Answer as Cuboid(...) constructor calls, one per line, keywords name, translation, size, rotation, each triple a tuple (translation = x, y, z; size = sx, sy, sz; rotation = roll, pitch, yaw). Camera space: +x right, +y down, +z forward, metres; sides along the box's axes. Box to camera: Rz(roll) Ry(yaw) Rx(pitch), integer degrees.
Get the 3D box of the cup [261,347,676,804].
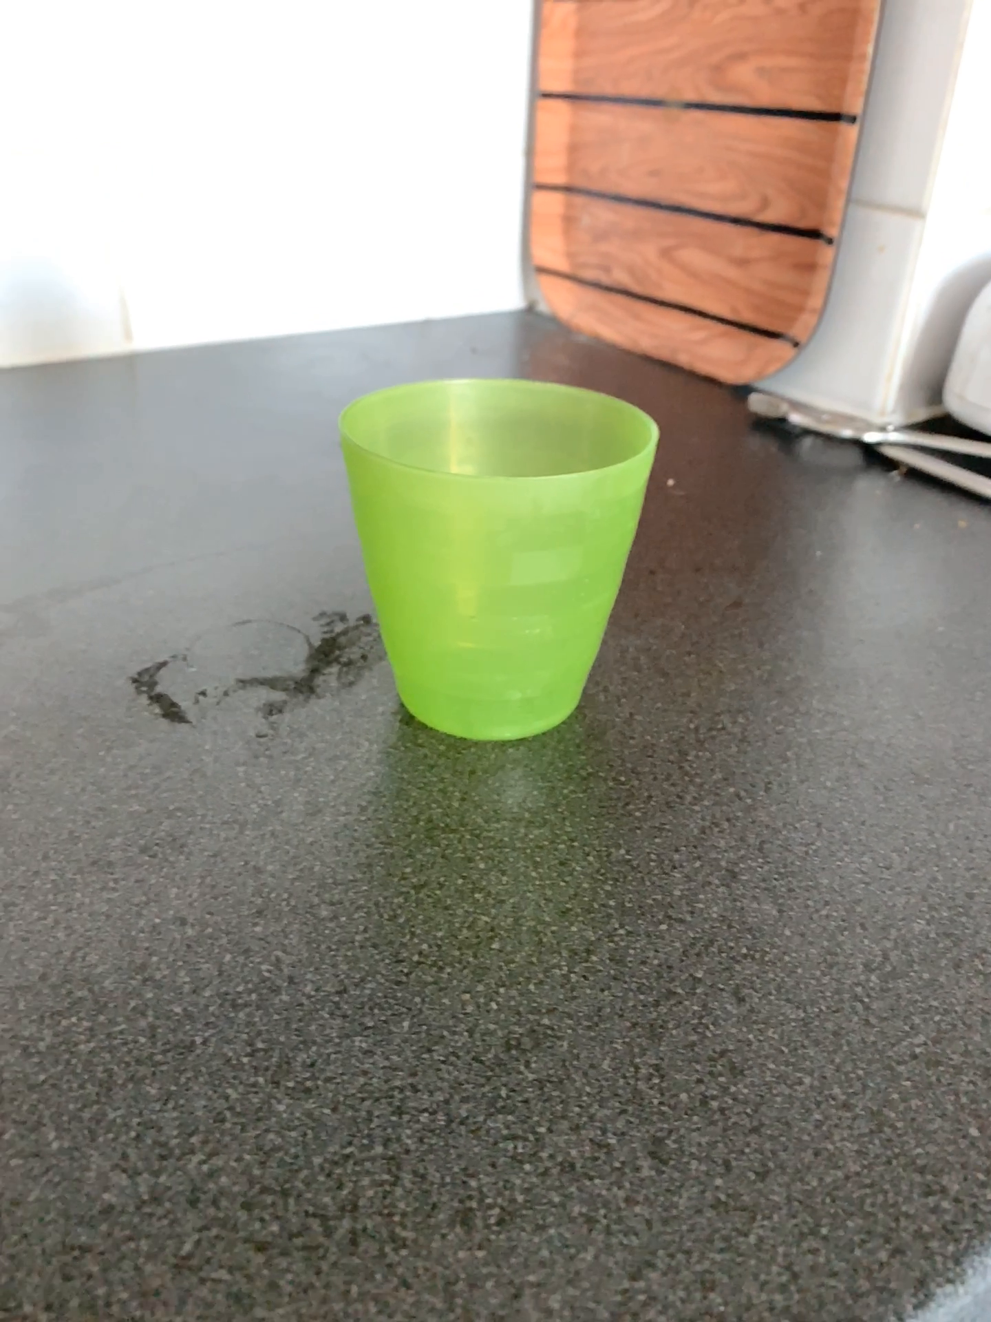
Cuboid(name="cup", translation=(-0.005, -0.029, 0.283), size=(0.077, 0.080, 0.090), rotation=(15, 32, 16))
